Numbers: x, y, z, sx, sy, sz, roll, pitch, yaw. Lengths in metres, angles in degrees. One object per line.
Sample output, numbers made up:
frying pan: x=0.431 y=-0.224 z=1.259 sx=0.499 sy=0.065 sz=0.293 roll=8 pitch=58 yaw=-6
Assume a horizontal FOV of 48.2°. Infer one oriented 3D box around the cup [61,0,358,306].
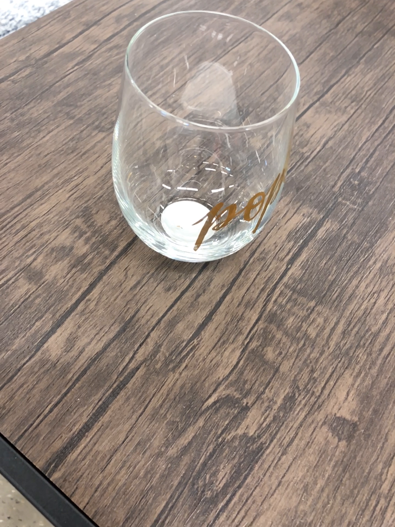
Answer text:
cup: x=-0.007 y=-0.056 z=0.229 sx=0.100 sy=0.130 sz=0.100 roll=3 pitch=59 yaw=-5
